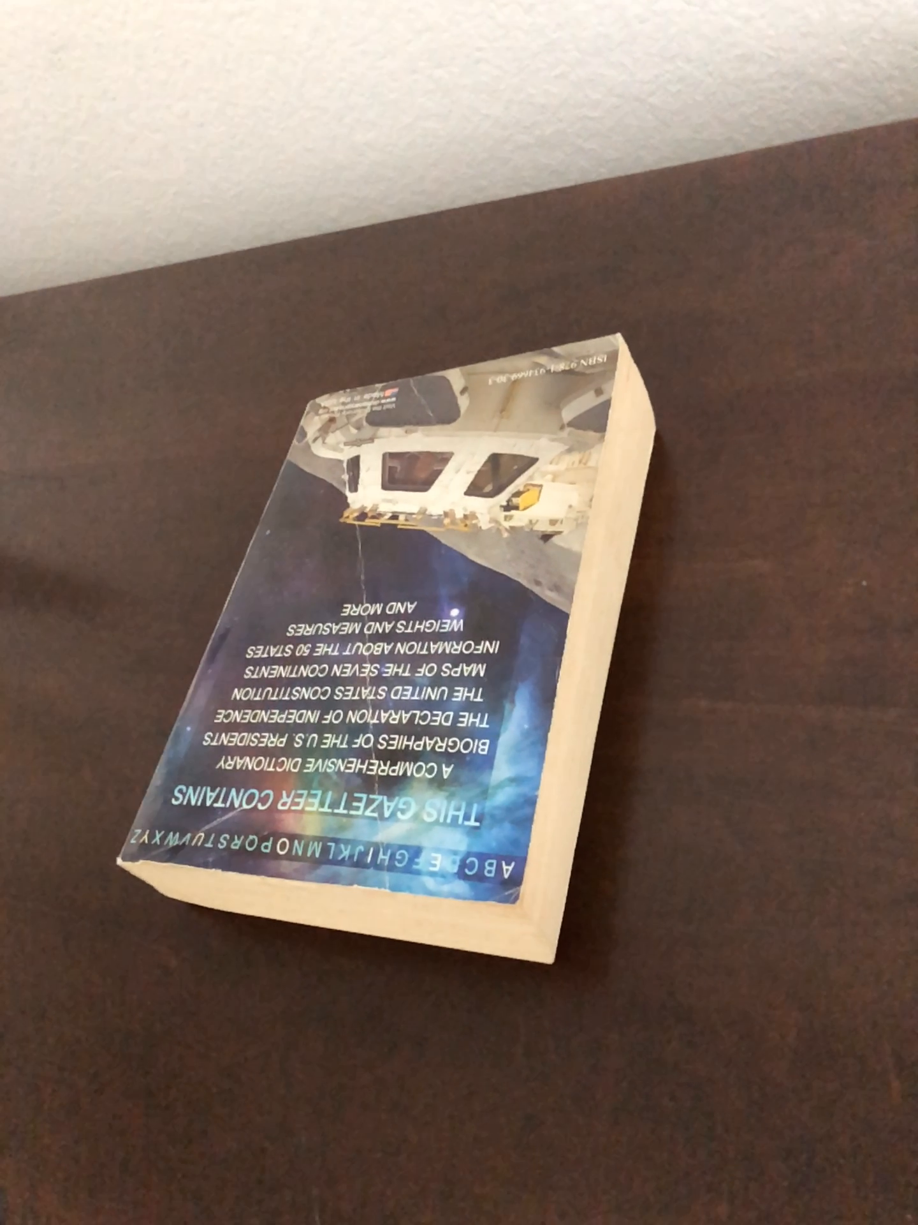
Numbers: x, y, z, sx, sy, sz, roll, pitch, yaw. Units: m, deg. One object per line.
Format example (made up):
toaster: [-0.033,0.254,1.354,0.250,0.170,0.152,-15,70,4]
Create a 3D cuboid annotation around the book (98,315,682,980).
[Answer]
book: [-0.016,0.003,0.328,0.140,0.040,0.196,-4,56,32]
